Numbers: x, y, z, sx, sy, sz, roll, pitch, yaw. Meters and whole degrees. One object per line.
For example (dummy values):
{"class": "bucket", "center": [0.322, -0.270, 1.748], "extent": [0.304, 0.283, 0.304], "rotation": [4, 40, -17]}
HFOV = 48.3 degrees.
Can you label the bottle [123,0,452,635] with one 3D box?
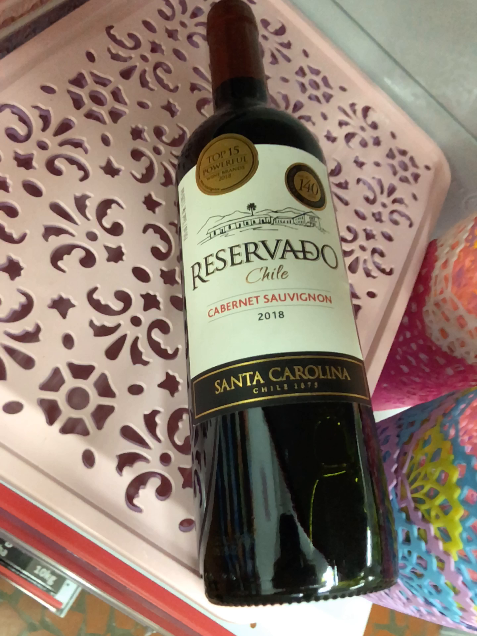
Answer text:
{"class": "bottle", "center": [-0.002, -0.055, 0.240], "extent": [0.080, 0.060, 0.331], "rotation": [6, 62, -25]}
